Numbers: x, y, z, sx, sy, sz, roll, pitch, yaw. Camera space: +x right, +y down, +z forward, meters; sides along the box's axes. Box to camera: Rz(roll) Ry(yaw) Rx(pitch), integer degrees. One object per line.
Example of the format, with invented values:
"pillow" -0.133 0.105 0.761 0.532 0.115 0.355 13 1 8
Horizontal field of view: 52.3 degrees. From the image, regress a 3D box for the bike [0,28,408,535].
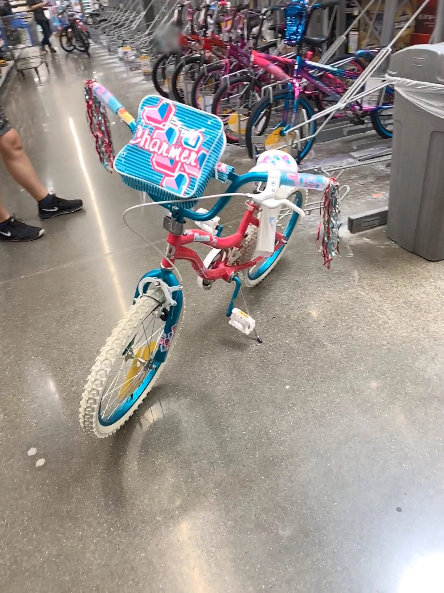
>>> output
"bike" 0.008 -0.169 1.484 0.653 0.929 1.265 16 43 30
